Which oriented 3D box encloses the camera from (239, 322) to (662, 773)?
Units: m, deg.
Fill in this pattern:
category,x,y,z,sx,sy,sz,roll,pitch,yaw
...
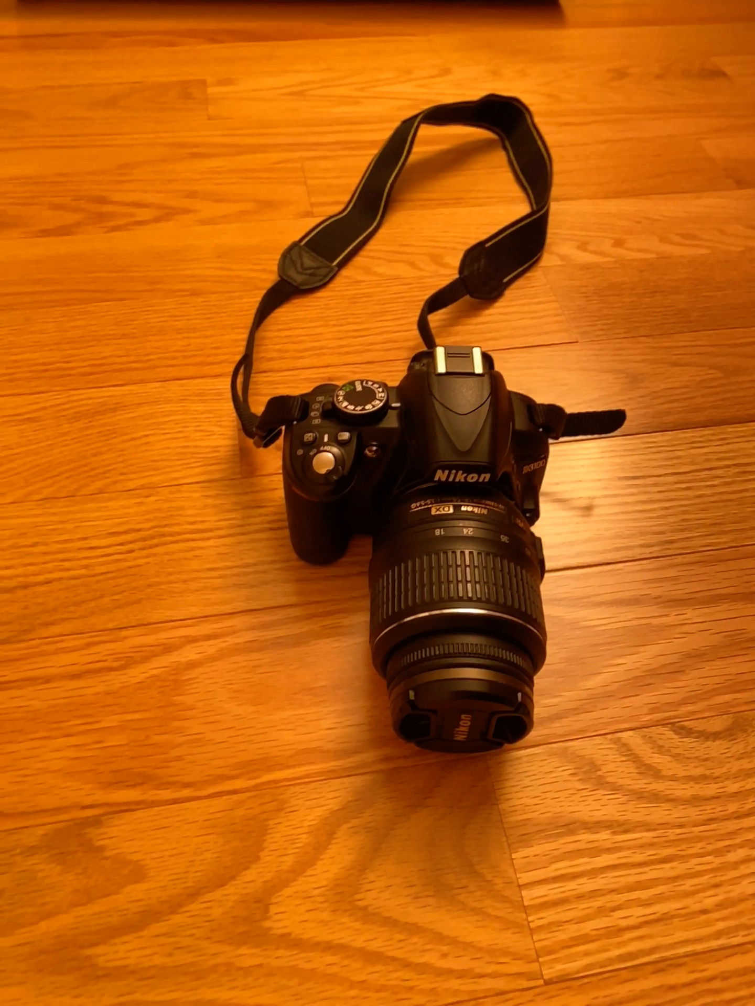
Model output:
category,x,y,z,sx,sy,sz,roll,pitch,yaw
camera,0.020,0.014,0.328,0.130,0.099,0.161,-1,50,-2
